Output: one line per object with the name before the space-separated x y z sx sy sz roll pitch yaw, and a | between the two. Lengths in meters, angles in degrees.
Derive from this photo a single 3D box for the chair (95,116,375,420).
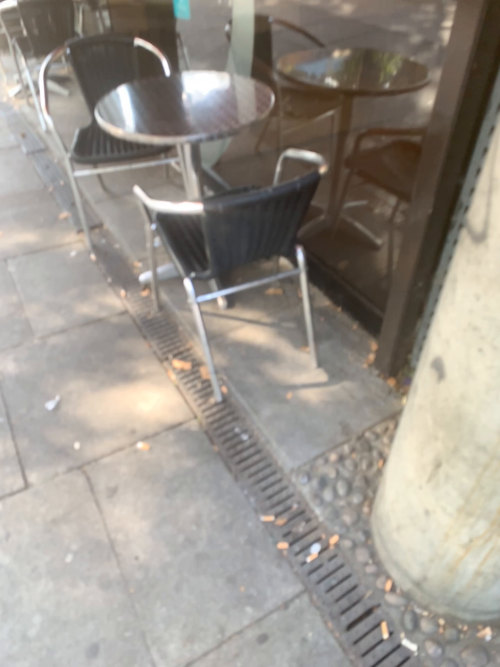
chair | -0.077 -0.242 1.627 0.601 0.604 0.645 -16 44 -16
